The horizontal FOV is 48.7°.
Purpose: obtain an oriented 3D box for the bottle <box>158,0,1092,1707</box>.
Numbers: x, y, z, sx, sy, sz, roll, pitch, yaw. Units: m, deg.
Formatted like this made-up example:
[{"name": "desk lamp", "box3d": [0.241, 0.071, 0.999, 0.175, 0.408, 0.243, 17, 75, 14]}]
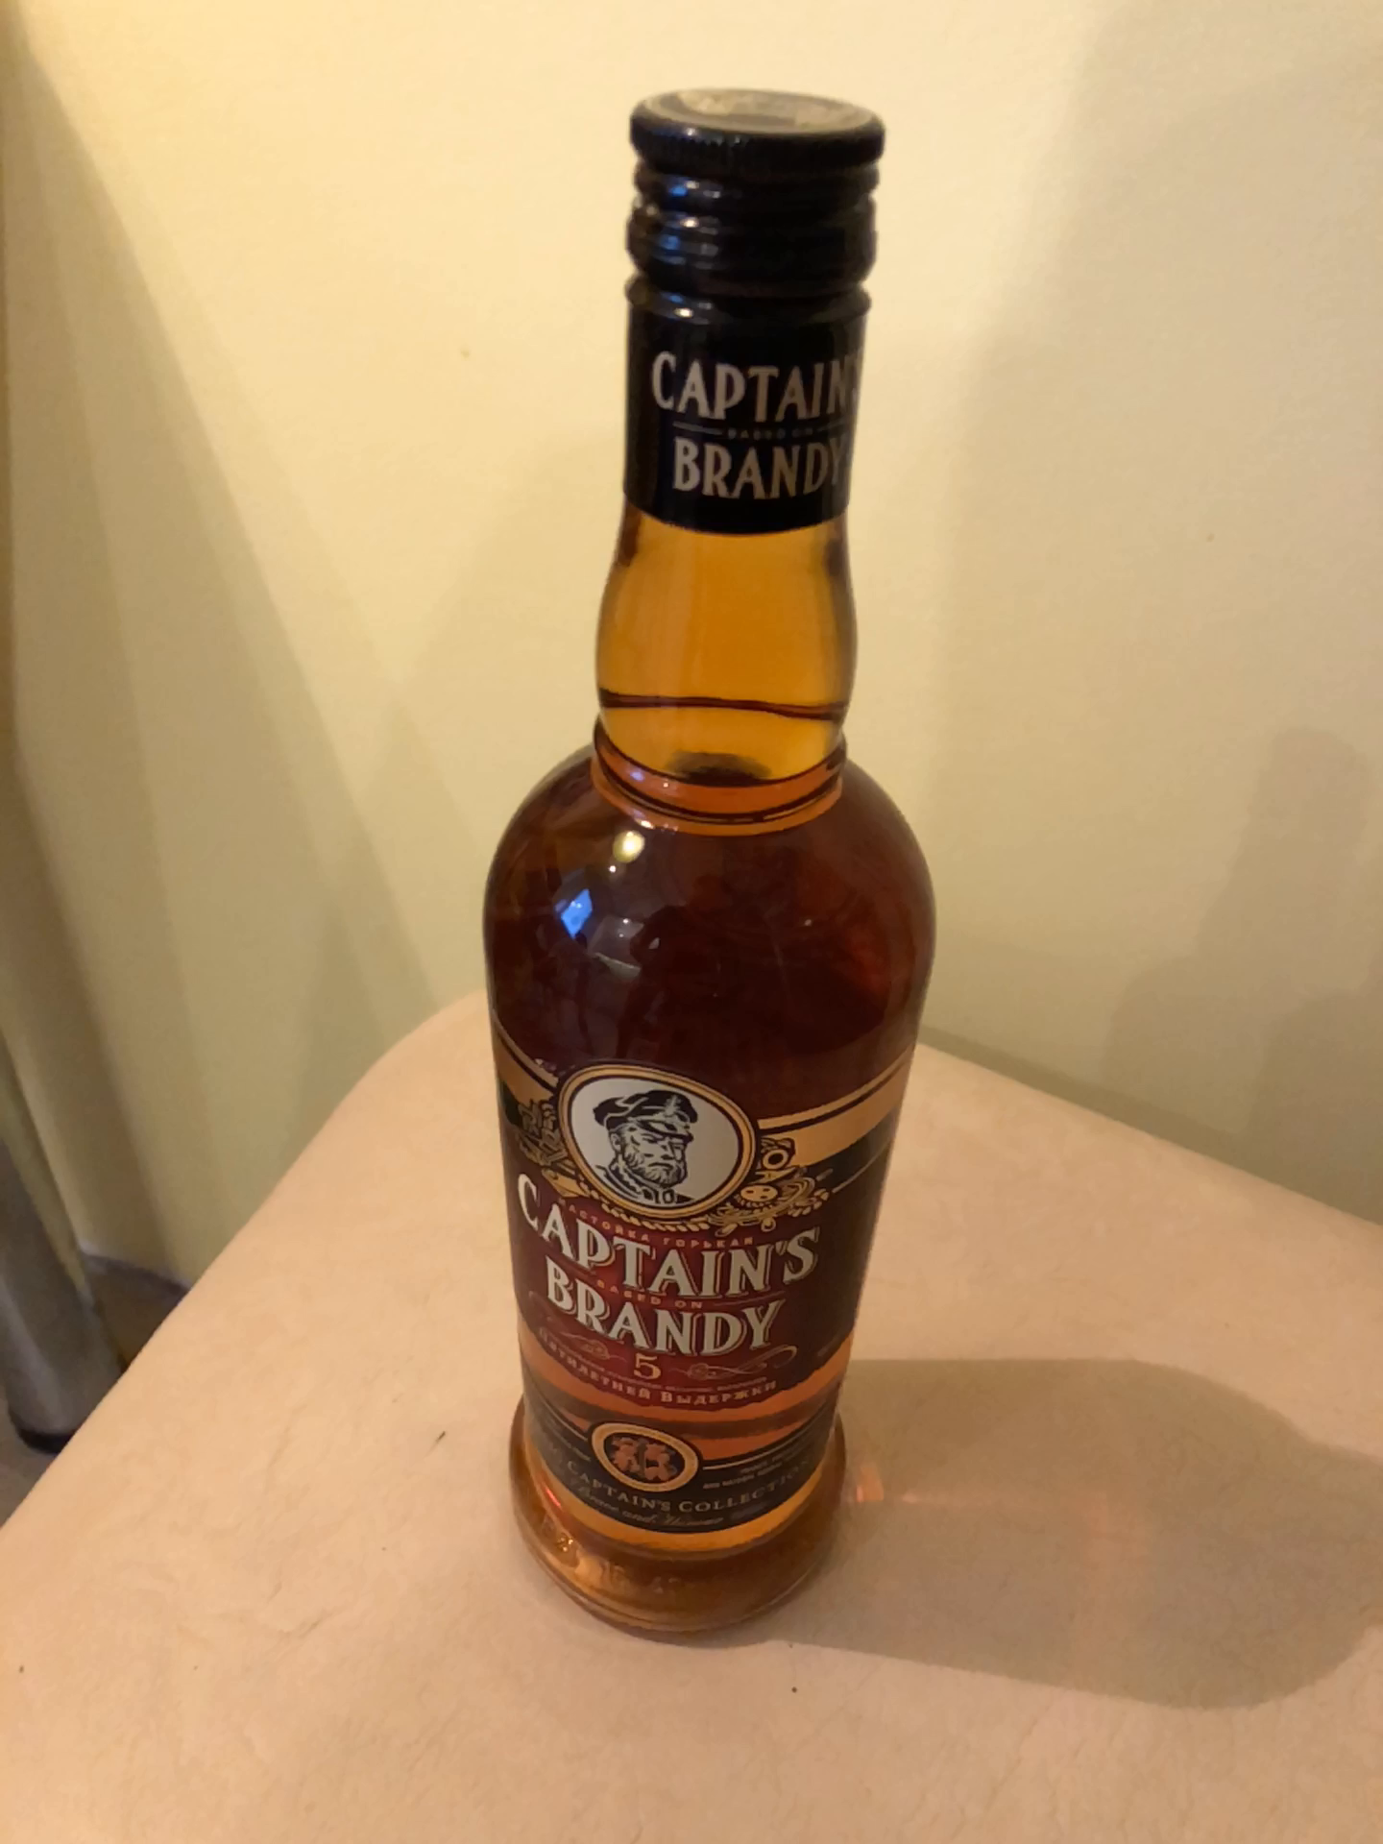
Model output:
[{"name": "bottle", "box3d": [-0.001, 0.011, 0.234, 0.080, 0.258, 0.071, 9, 37, 11]}]
